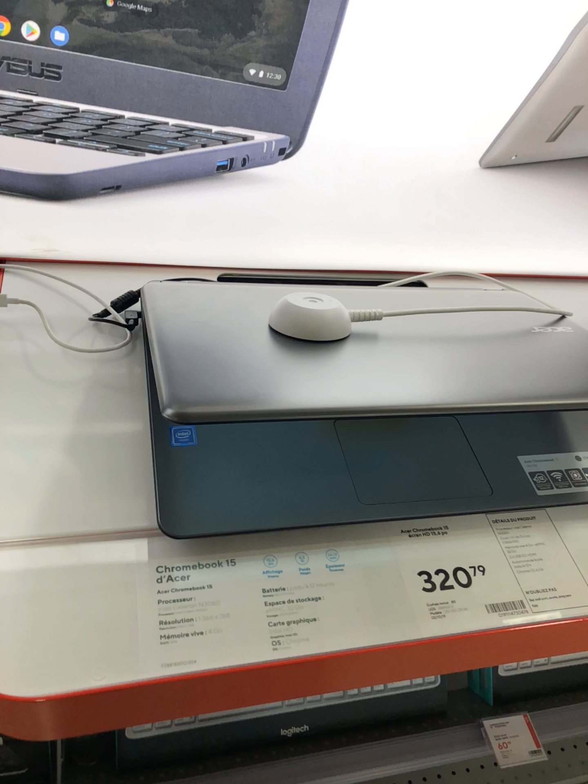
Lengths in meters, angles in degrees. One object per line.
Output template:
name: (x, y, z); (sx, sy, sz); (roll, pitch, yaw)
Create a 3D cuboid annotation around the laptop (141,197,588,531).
laptop: (0.081, -0.036, 0.500); (0.369, 0.088, 0.249); (-1, 45, -16)
